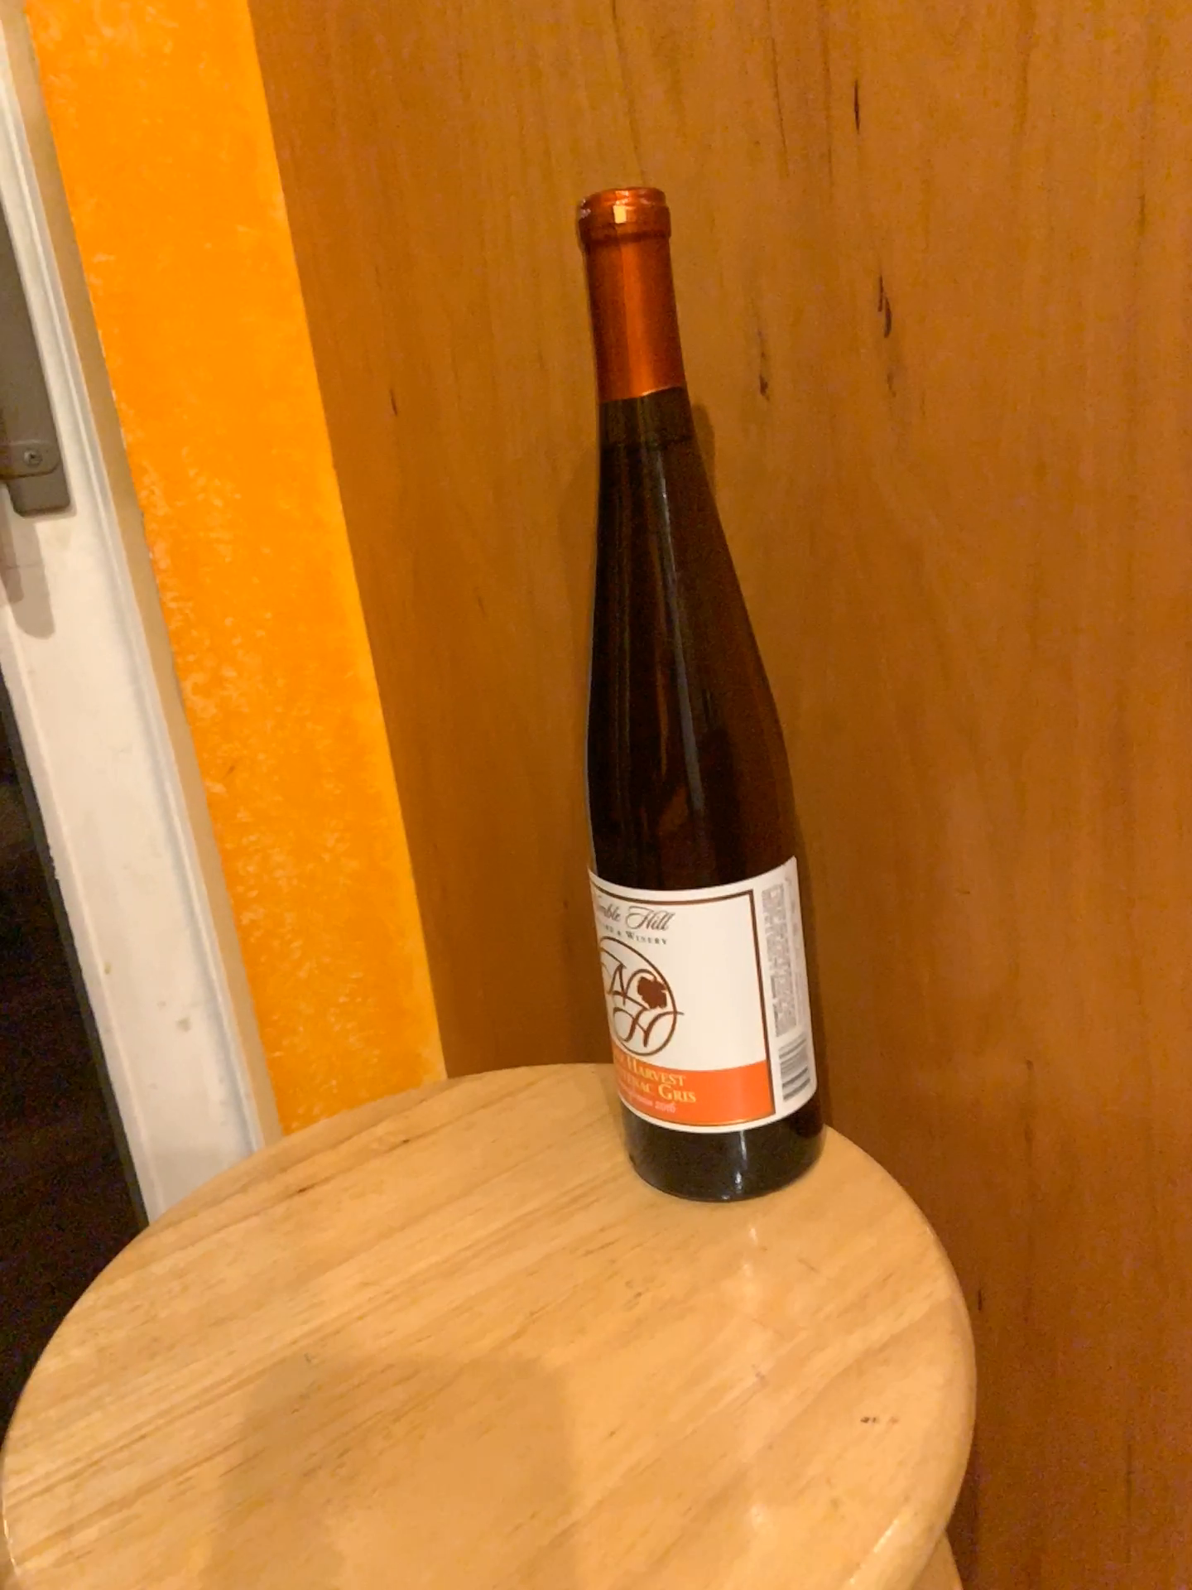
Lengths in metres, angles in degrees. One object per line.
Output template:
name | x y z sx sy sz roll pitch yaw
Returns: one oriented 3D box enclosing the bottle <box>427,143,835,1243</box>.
bottle | 0.017 -0.023 0.406 0.060 0.329 0.080 -20 21 -36
